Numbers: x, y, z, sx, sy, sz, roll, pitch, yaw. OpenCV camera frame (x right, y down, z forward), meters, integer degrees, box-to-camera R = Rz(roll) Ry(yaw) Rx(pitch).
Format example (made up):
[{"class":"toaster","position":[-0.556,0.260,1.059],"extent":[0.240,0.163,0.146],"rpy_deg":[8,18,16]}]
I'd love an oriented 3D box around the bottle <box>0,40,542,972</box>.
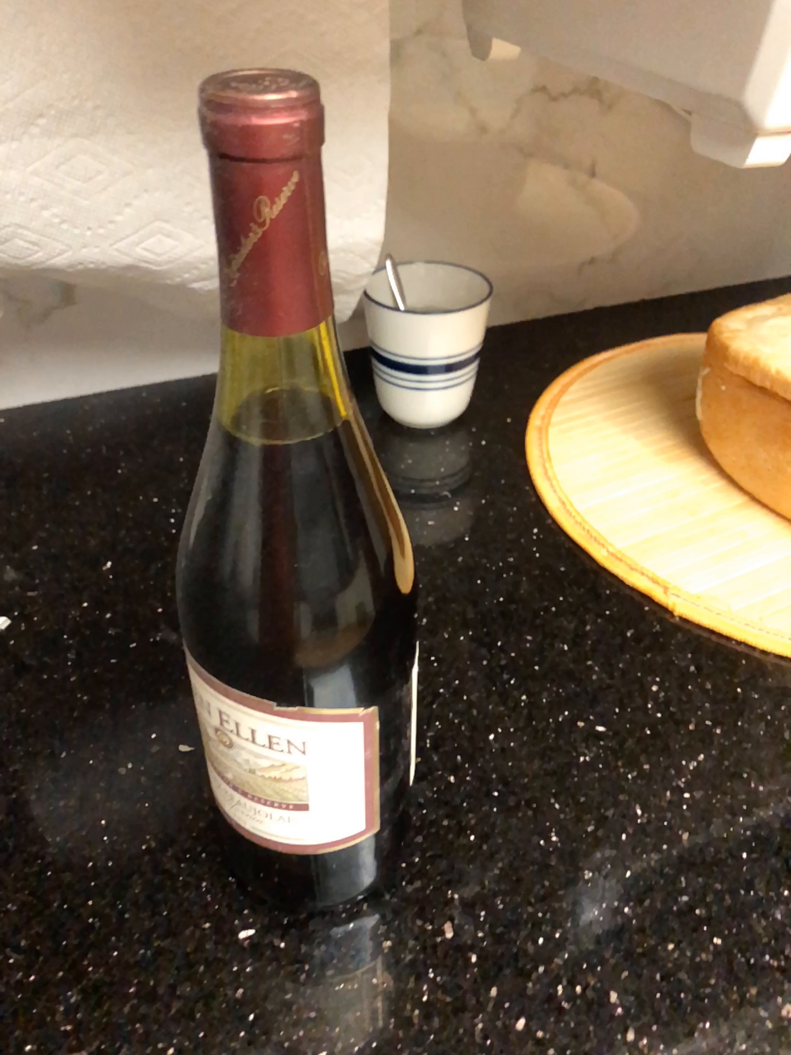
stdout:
[{"class":"bottle","position":[-0.031,0.013,0.290],"extent":[0.090,0.288,0.090],"rpy_deg":[0,38,0]}]
